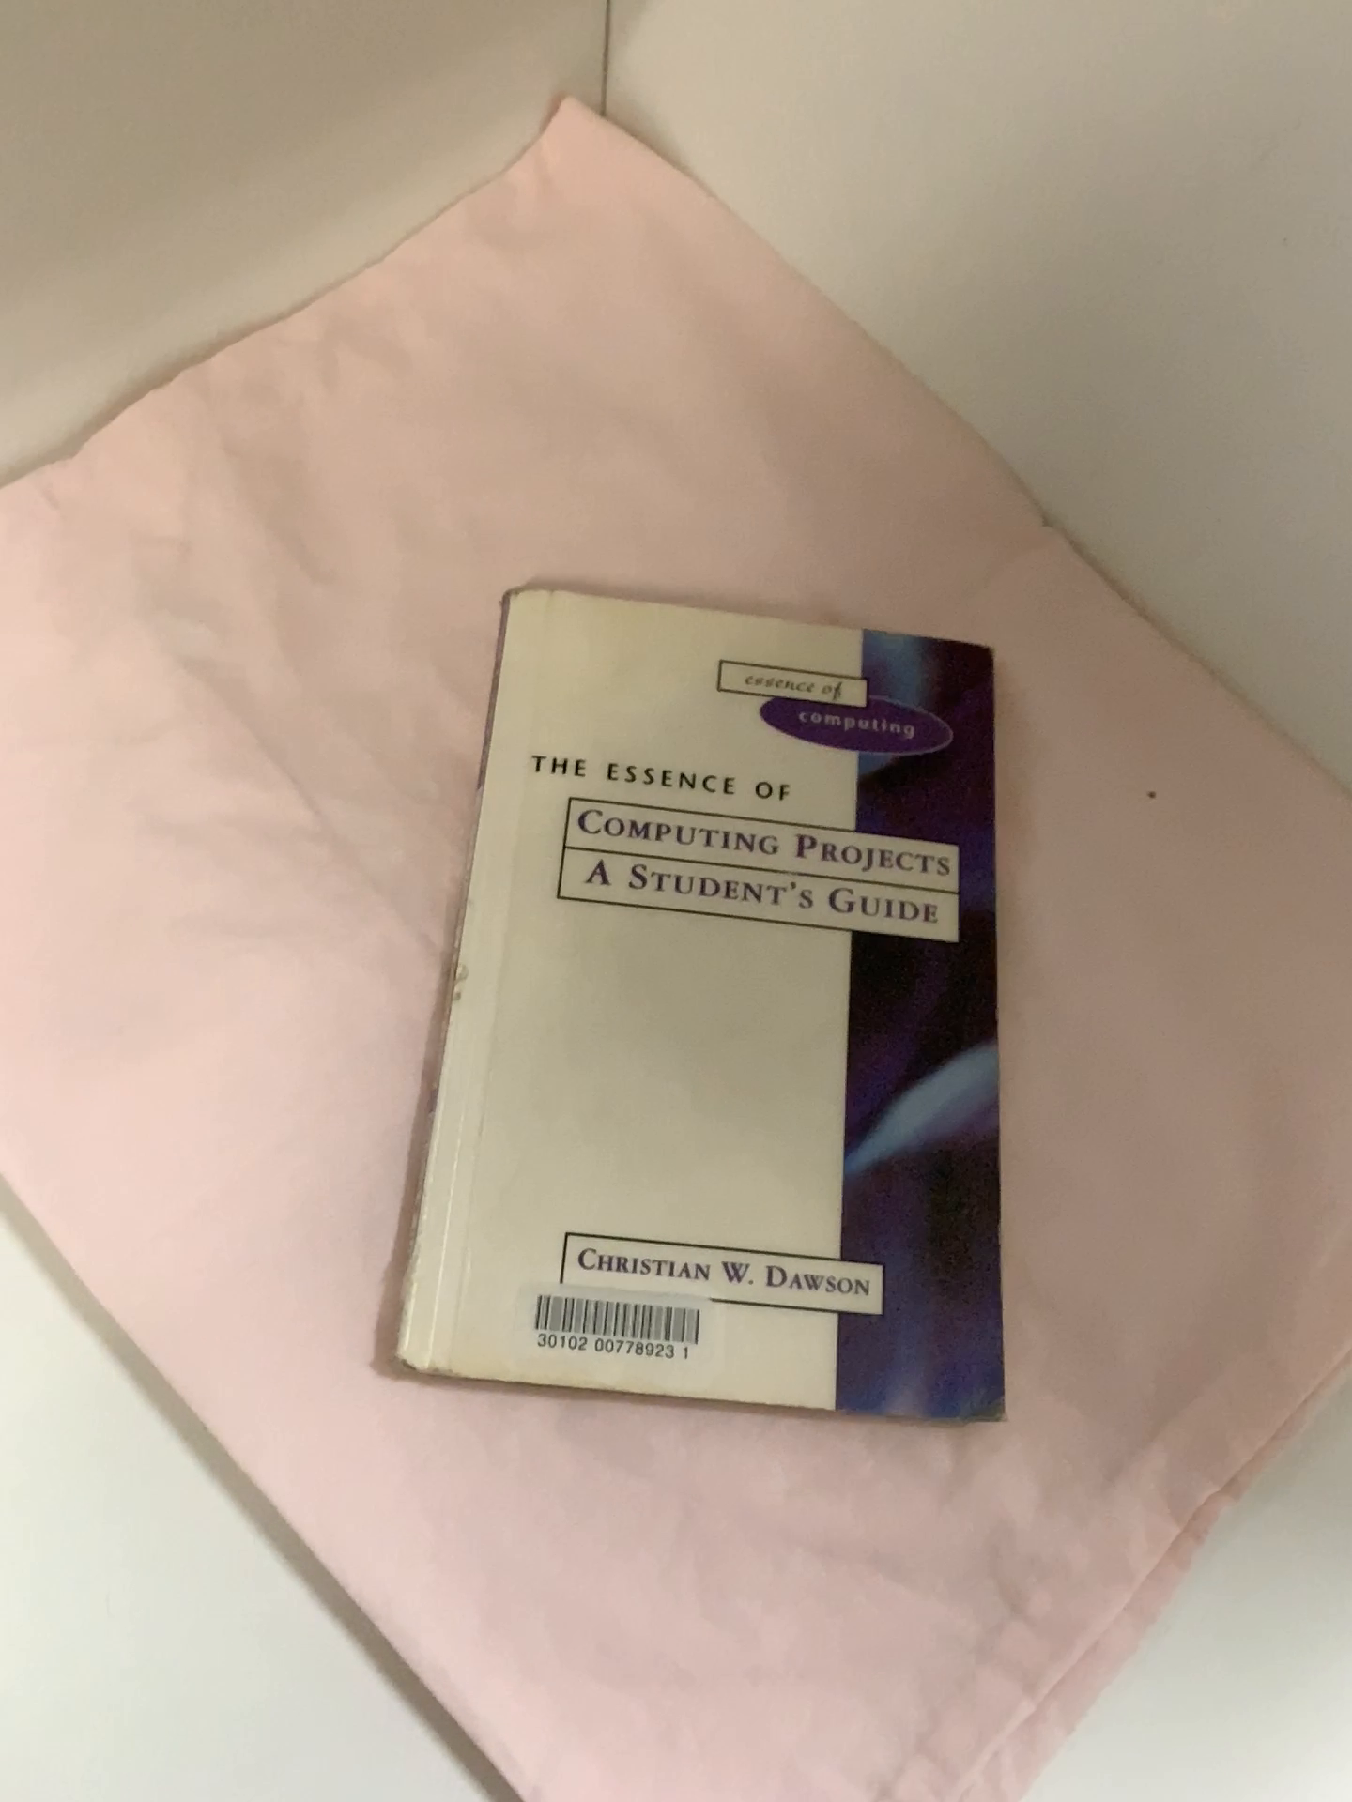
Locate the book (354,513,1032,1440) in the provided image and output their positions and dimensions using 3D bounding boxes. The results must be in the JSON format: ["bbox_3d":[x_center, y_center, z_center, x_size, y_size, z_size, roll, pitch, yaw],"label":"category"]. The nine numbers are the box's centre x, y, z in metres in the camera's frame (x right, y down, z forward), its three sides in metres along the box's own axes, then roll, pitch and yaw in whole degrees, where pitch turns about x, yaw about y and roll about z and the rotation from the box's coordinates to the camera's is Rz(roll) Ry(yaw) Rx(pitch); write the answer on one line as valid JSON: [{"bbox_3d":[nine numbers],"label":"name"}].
[{"bbox_3d":[0.015,0.010,0.405,0.170,0.020,0.261,6,68,-3],"label":"book"}]
